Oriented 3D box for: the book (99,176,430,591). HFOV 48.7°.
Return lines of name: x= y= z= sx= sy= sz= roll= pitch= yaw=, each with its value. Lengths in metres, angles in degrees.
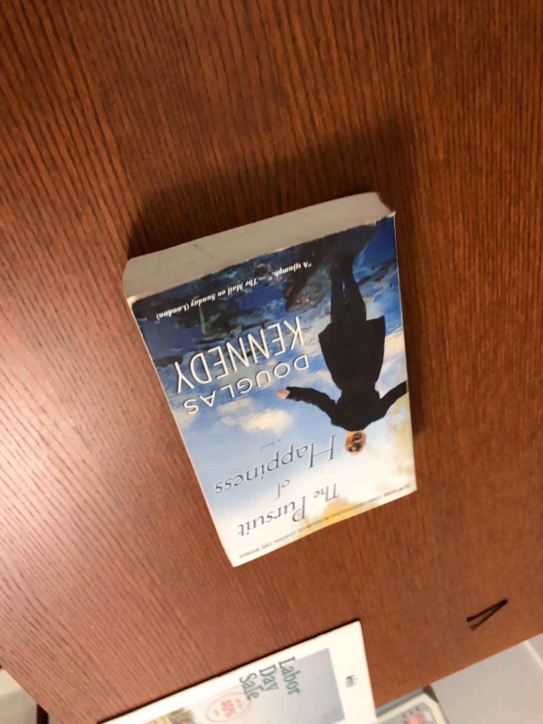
book: x=0.012 y=0.027 z=0.384 sx=0.160 sy=0.050 sz=0.240 roll=-19 pitch=125 yaw=-8
